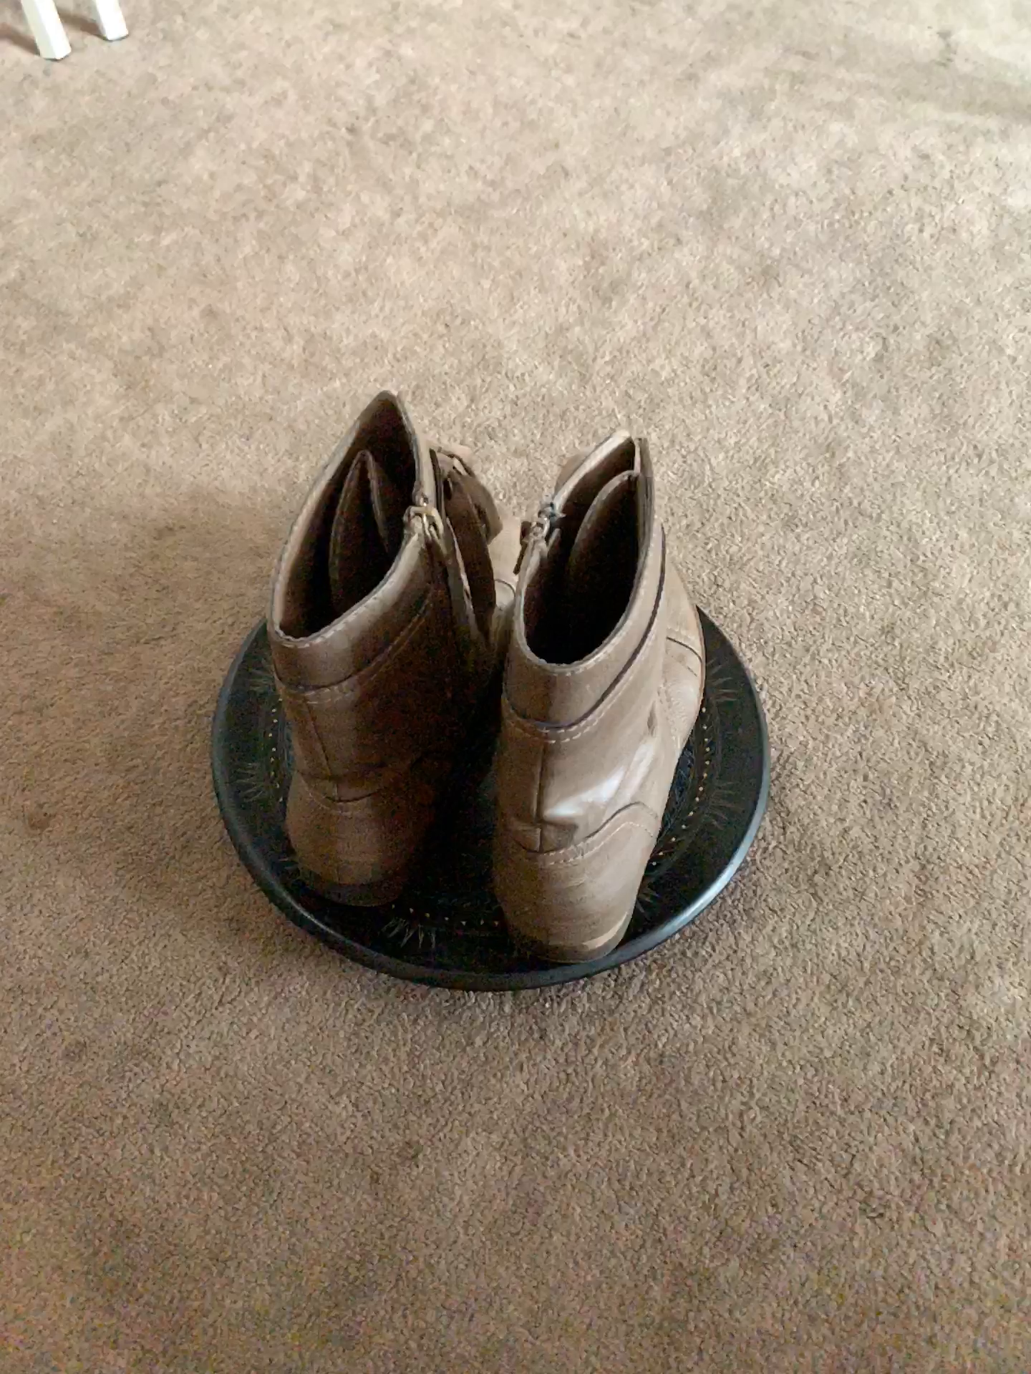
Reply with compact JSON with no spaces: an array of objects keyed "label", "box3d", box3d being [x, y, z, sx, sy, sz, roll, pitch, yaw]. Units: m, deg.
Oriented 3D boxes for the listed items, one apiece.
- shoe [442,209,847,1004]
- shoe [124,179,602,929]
[{"label":"shoe","box3d":[0.058,-0.036,0.466,0.100,0.198,0.272,12,55,7]},{"label":"shoe","box3d":[-0.044,-0.060,0.483,0.100,0.198,0.262,12,55,7]}]
